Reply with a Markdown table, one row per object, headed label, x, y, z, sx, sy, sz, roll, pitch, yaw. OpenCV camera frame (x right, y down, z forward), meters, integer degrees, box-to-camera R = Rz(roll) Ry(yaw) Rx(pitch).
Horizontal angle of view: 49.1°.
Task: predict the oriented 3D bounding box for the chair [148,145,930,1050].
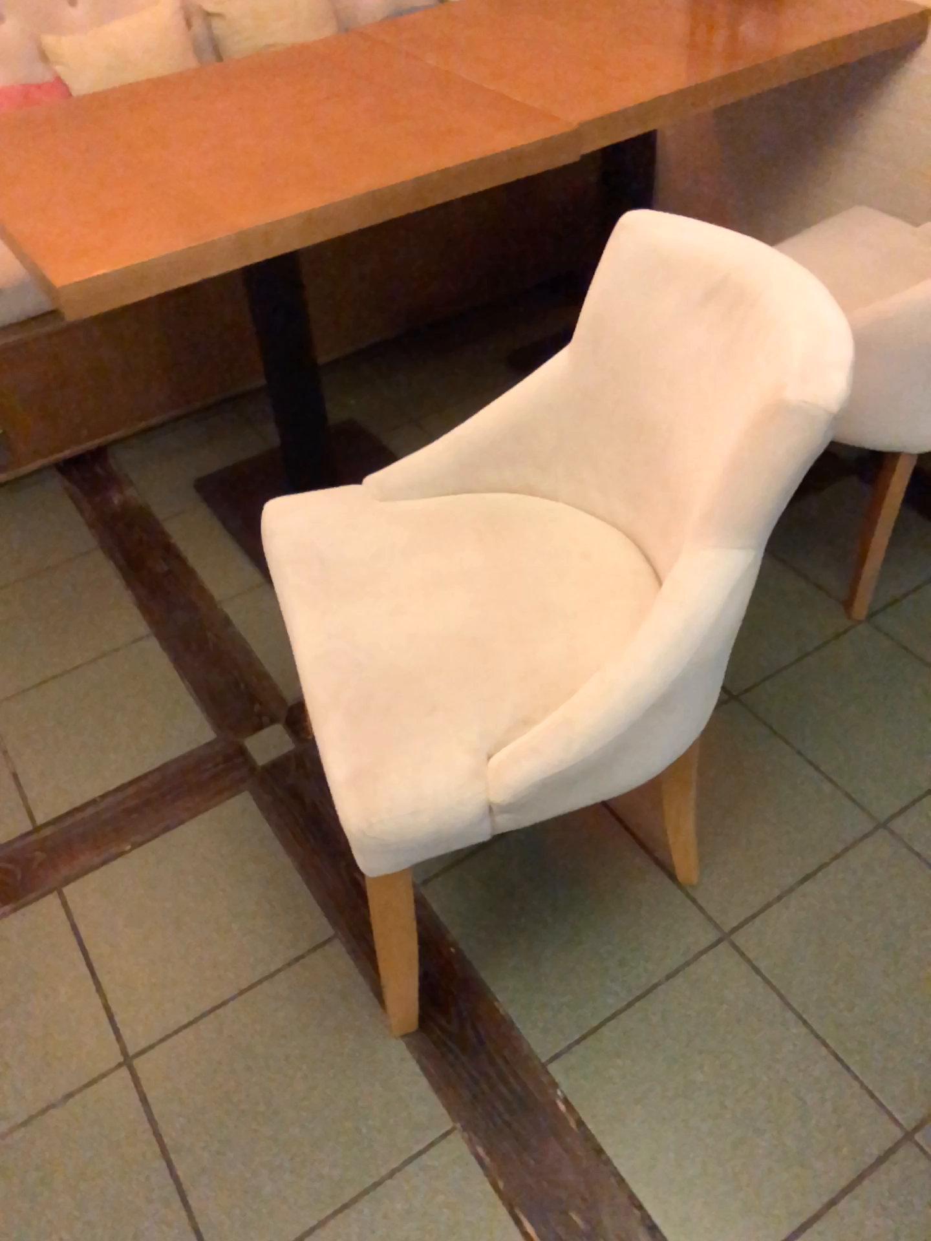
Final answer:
| label | x | y | z | sx | sy | sz | roll | pitch | yaw |
| --- | --- | --- | --- | --- | --- | --- | --- | --- | --- |
| chair | 0.078 | -0.042 | 1.253 | 0.660 | 0.736 | 0.633 | -16 | 45 | -11 |
